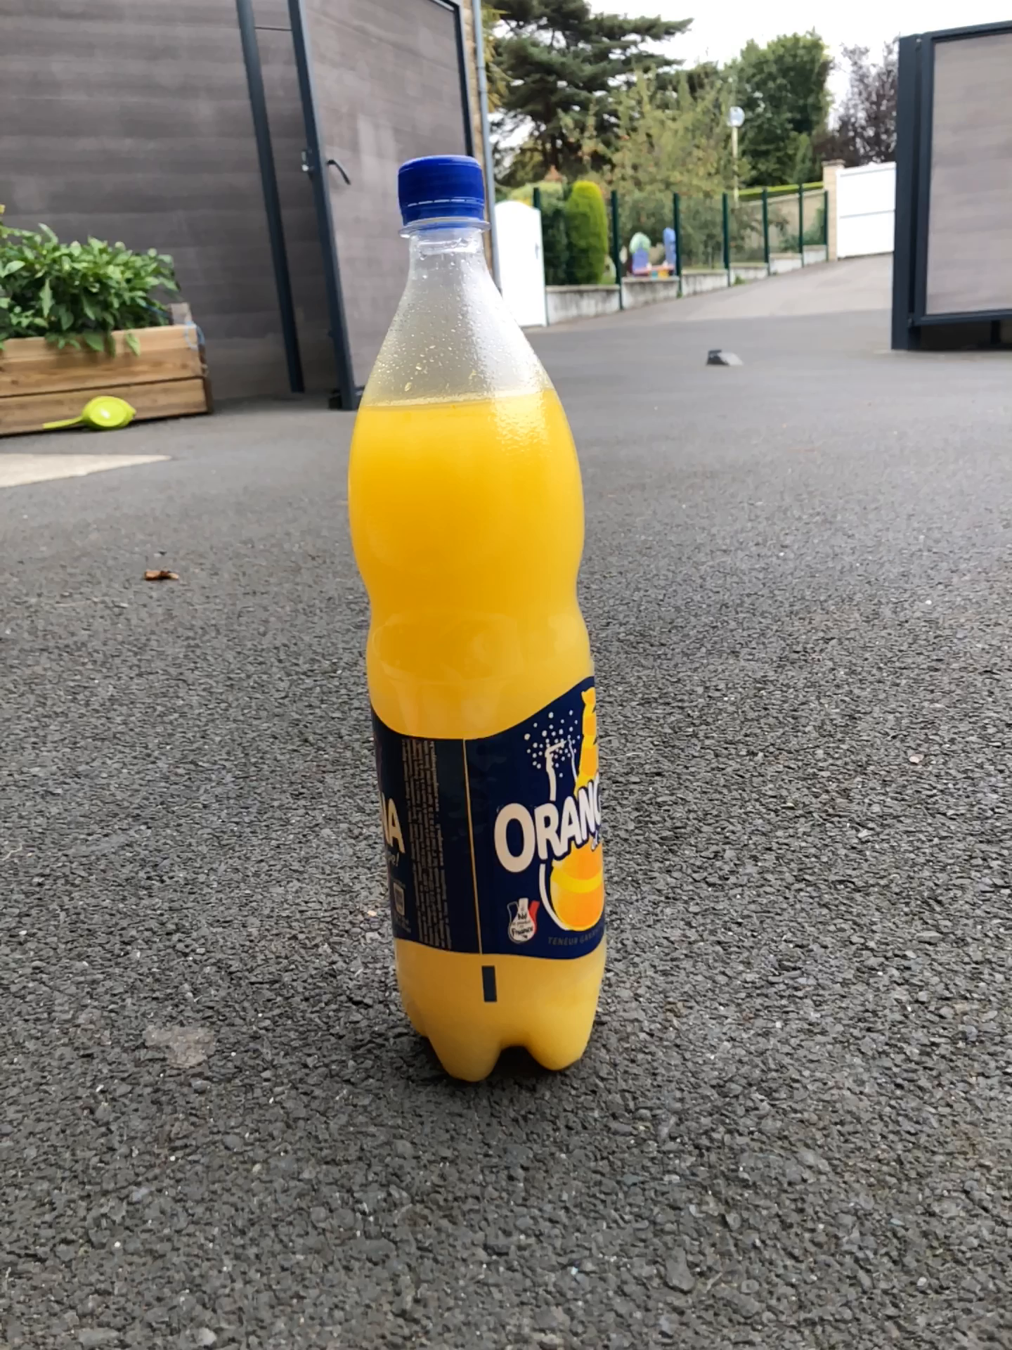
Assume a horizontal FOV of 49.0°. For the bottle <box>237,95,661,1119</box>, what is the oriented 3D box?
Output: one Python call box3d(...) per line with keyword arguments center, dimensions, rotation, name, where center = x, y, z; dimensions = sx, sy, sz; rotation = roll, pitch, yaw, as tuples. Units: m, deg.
box3d(center=(-0.005, -0.015, 0.415), dimensions=(0.100, 0.339, 0.101), rotation=(-5, 17, 1), name="bottle")
